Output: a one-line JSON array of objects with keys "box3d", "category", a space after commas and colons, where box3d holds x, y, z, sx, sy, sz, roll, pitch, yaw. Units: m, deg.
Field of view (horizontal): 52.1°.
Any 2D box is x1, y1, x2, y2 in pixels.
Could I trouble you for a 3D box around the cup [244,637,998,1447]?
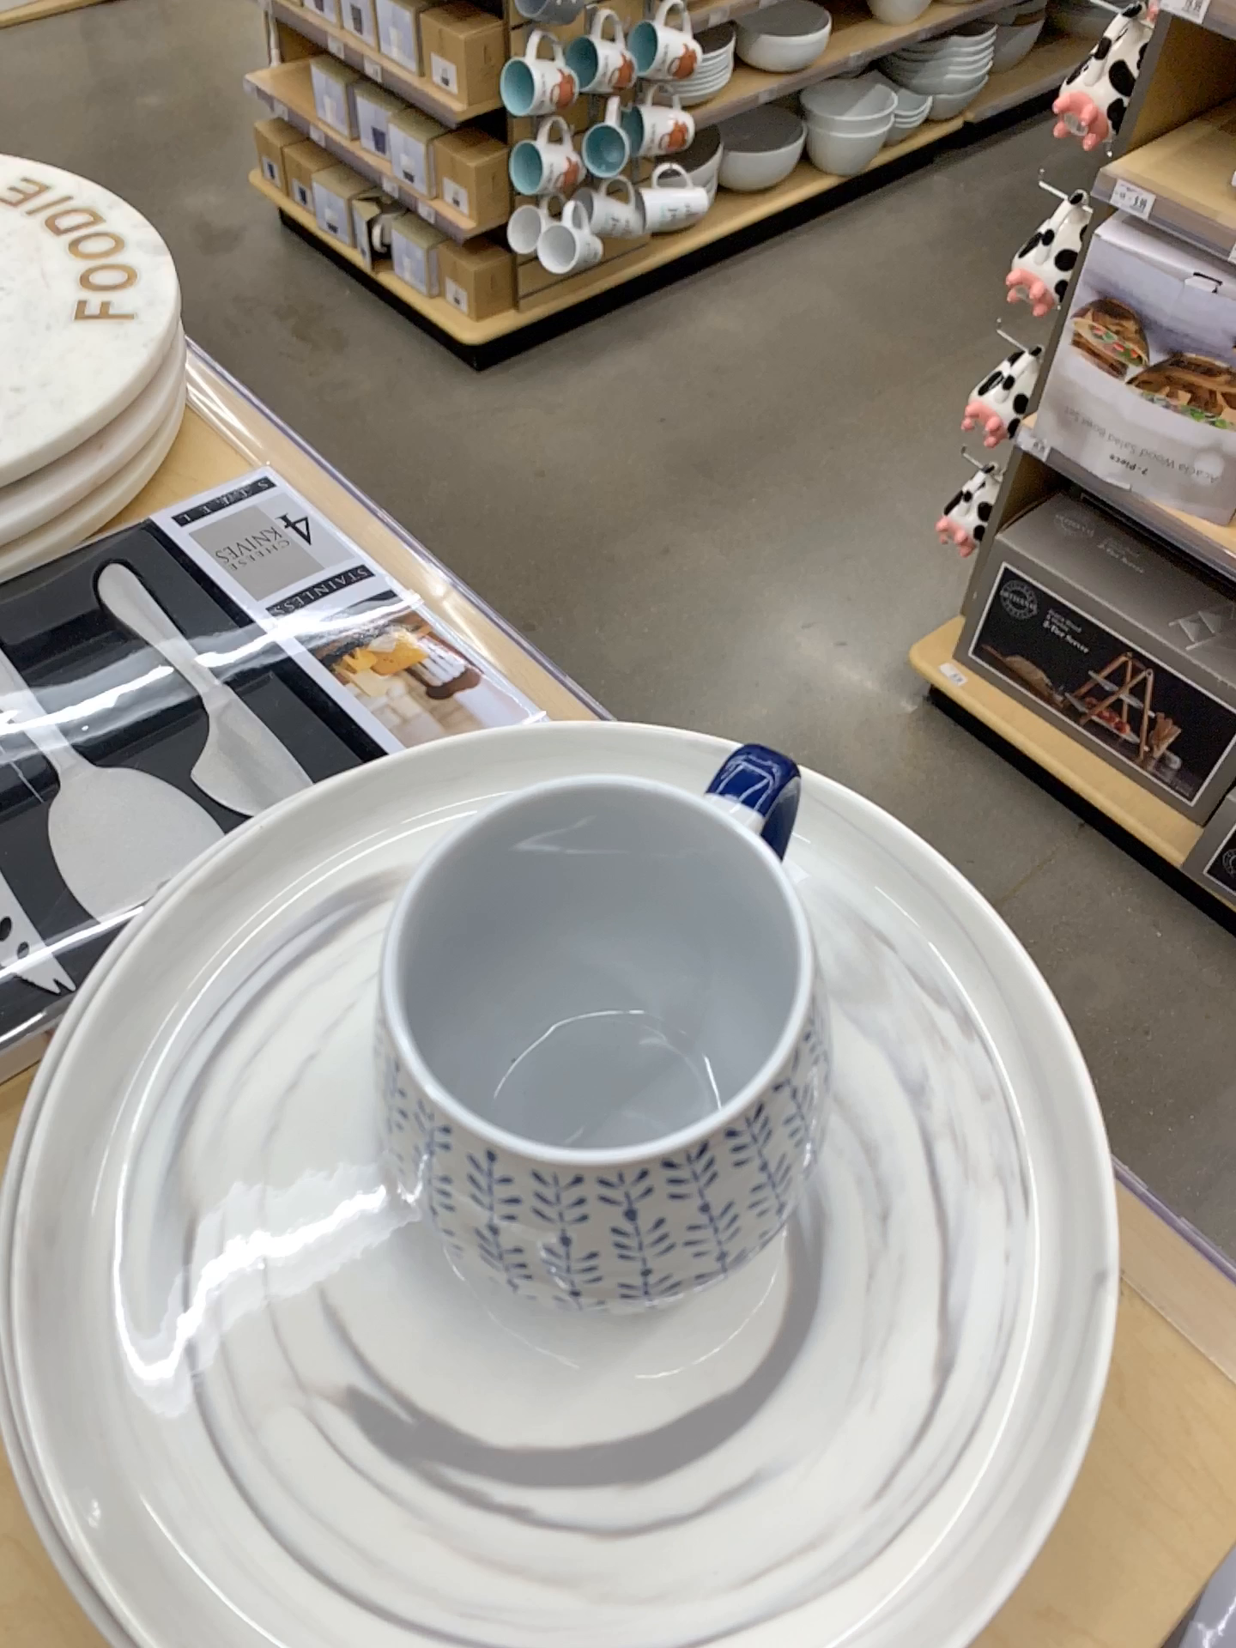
[{"box3d": [0.005, 0.050, 0.299, 0.104, 0.097, 0.128, 27, 59, 16], "category": "cup"}]
